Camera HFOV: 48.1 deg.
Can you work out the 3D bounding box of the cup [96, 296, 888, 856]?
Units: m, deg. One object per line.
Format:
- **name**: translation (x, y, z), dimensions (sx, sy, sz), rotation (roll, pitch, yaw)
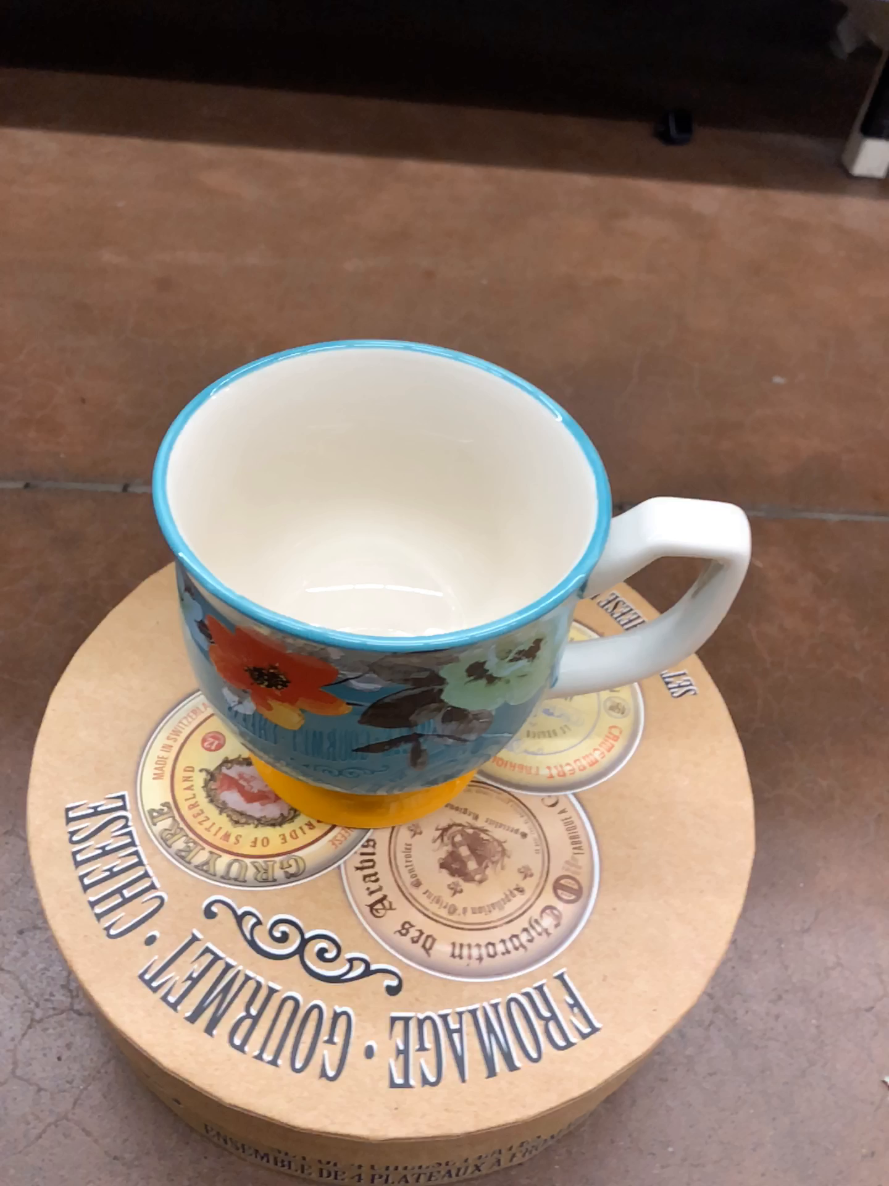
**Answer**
- **cup**: translation (0.008, -0.003, 0.232), dimensions (0.140, 0.080, 0.090), rotation (4, 47, -4)
